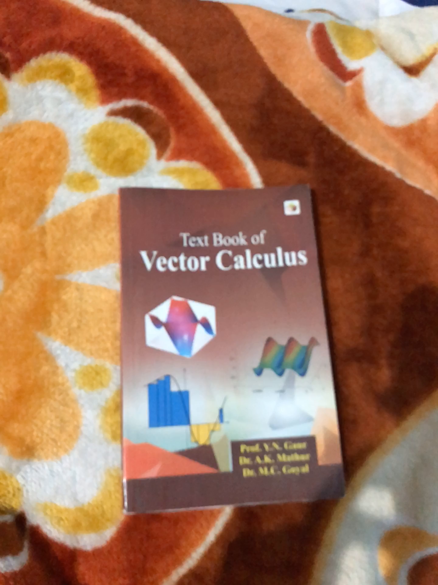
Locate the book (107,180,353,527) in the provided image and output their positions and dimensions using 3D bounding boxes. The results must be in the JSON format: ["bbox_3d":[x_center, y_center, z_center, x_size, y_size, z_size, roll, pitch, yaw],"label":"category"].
[{"bbox_3d":[0.001,0.029,0.322,0.140,0.020,0.210,-2,76,-6],"label":"book"}]
